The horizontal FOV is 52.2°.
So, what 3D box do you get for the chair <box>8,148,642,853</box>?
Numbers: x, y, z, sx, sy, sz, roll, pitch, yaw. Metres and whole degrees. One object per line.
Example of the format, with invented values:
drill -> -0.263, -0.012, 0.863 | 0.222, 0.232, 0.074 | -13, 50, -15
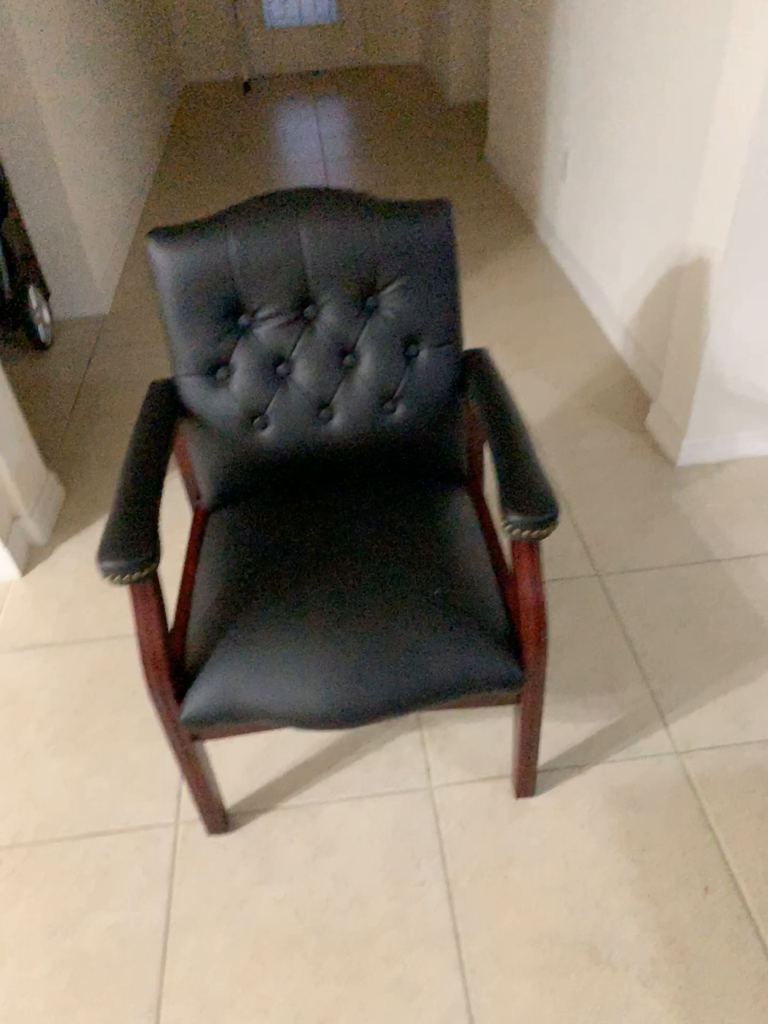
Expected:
chair -> -0.057, -0.006, 1.320 | 0.631, 0.907, 0.661 | -7, 40, -2
